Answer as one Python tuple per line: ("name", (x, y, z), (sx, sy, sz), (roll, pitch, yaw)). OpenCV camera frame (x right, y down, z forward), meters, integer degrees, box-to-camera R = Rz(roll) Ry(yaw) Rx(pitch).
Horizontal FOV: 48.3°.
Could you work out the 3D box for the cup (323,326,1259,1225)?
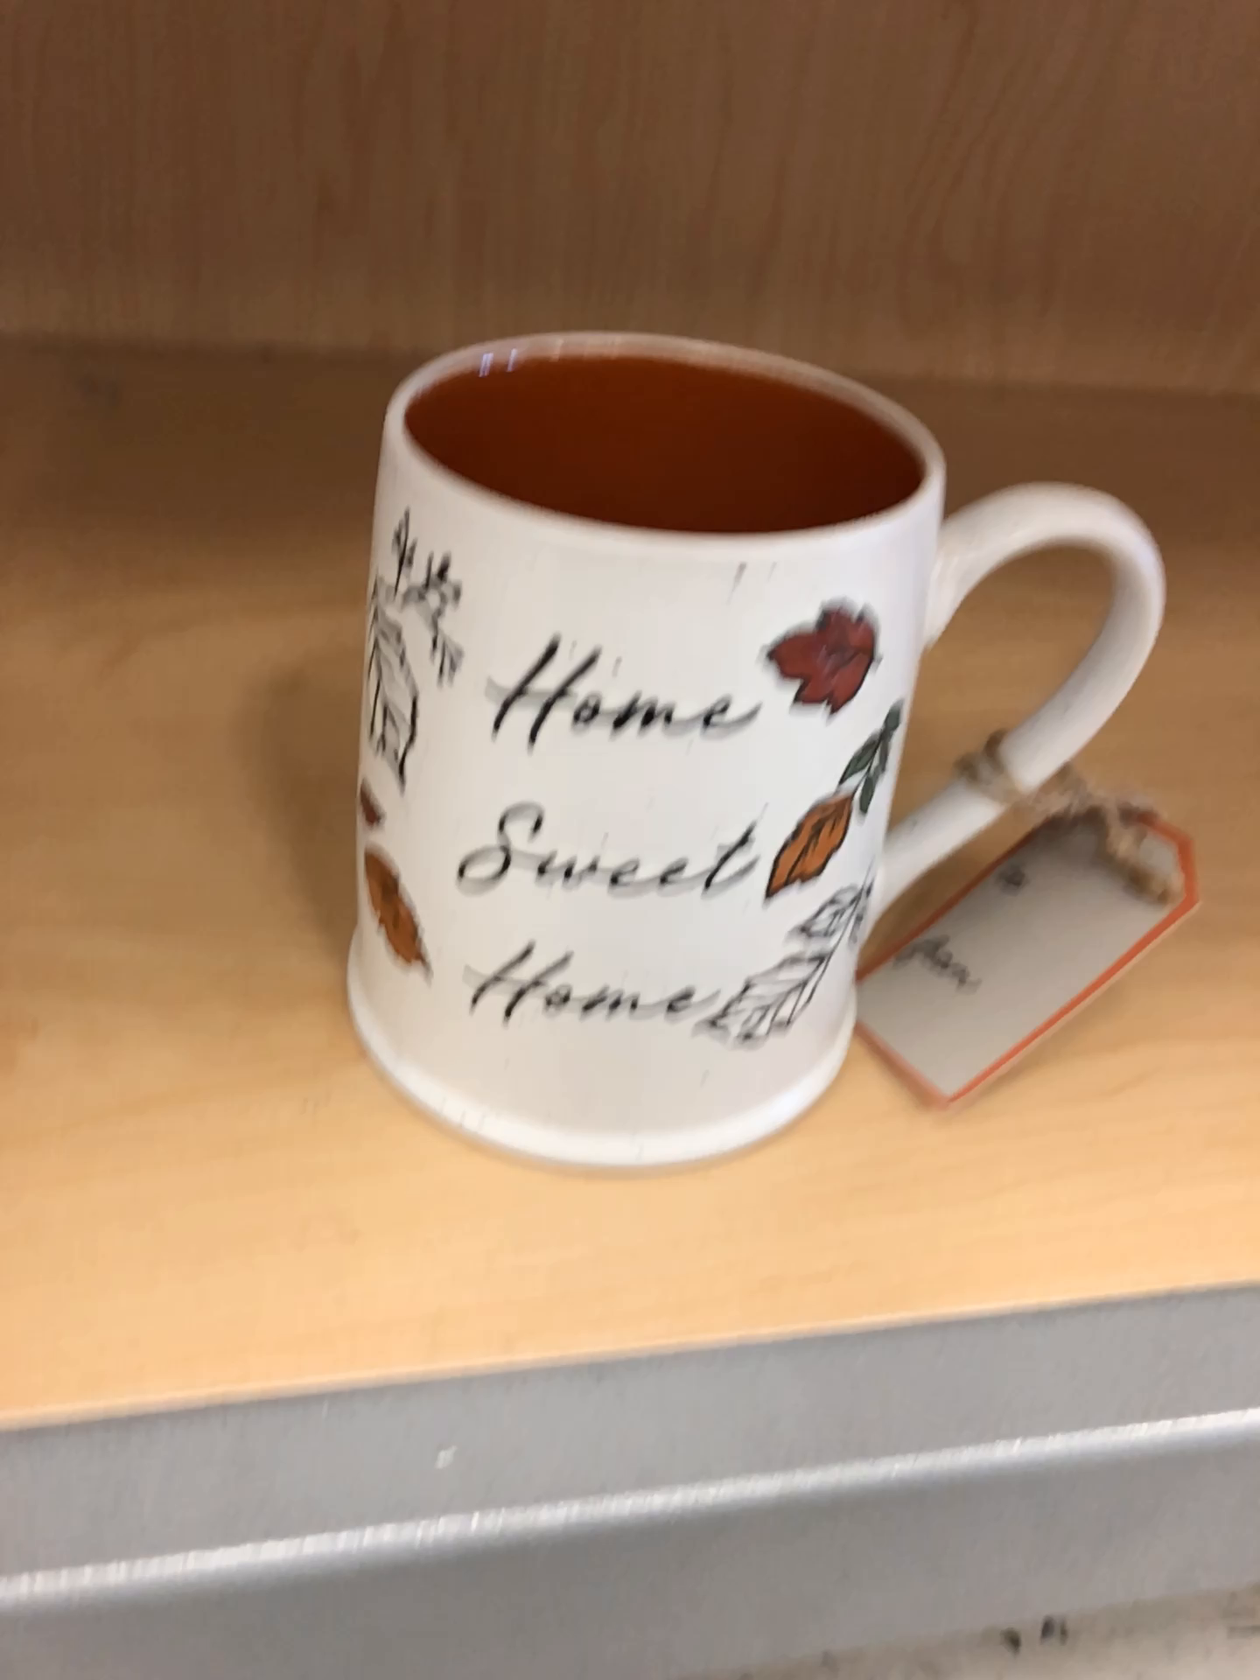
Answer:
("cup", (0.020, -0.013, 0.214), (0.125, 0.099, 0.081), (-3, 37, -13))
